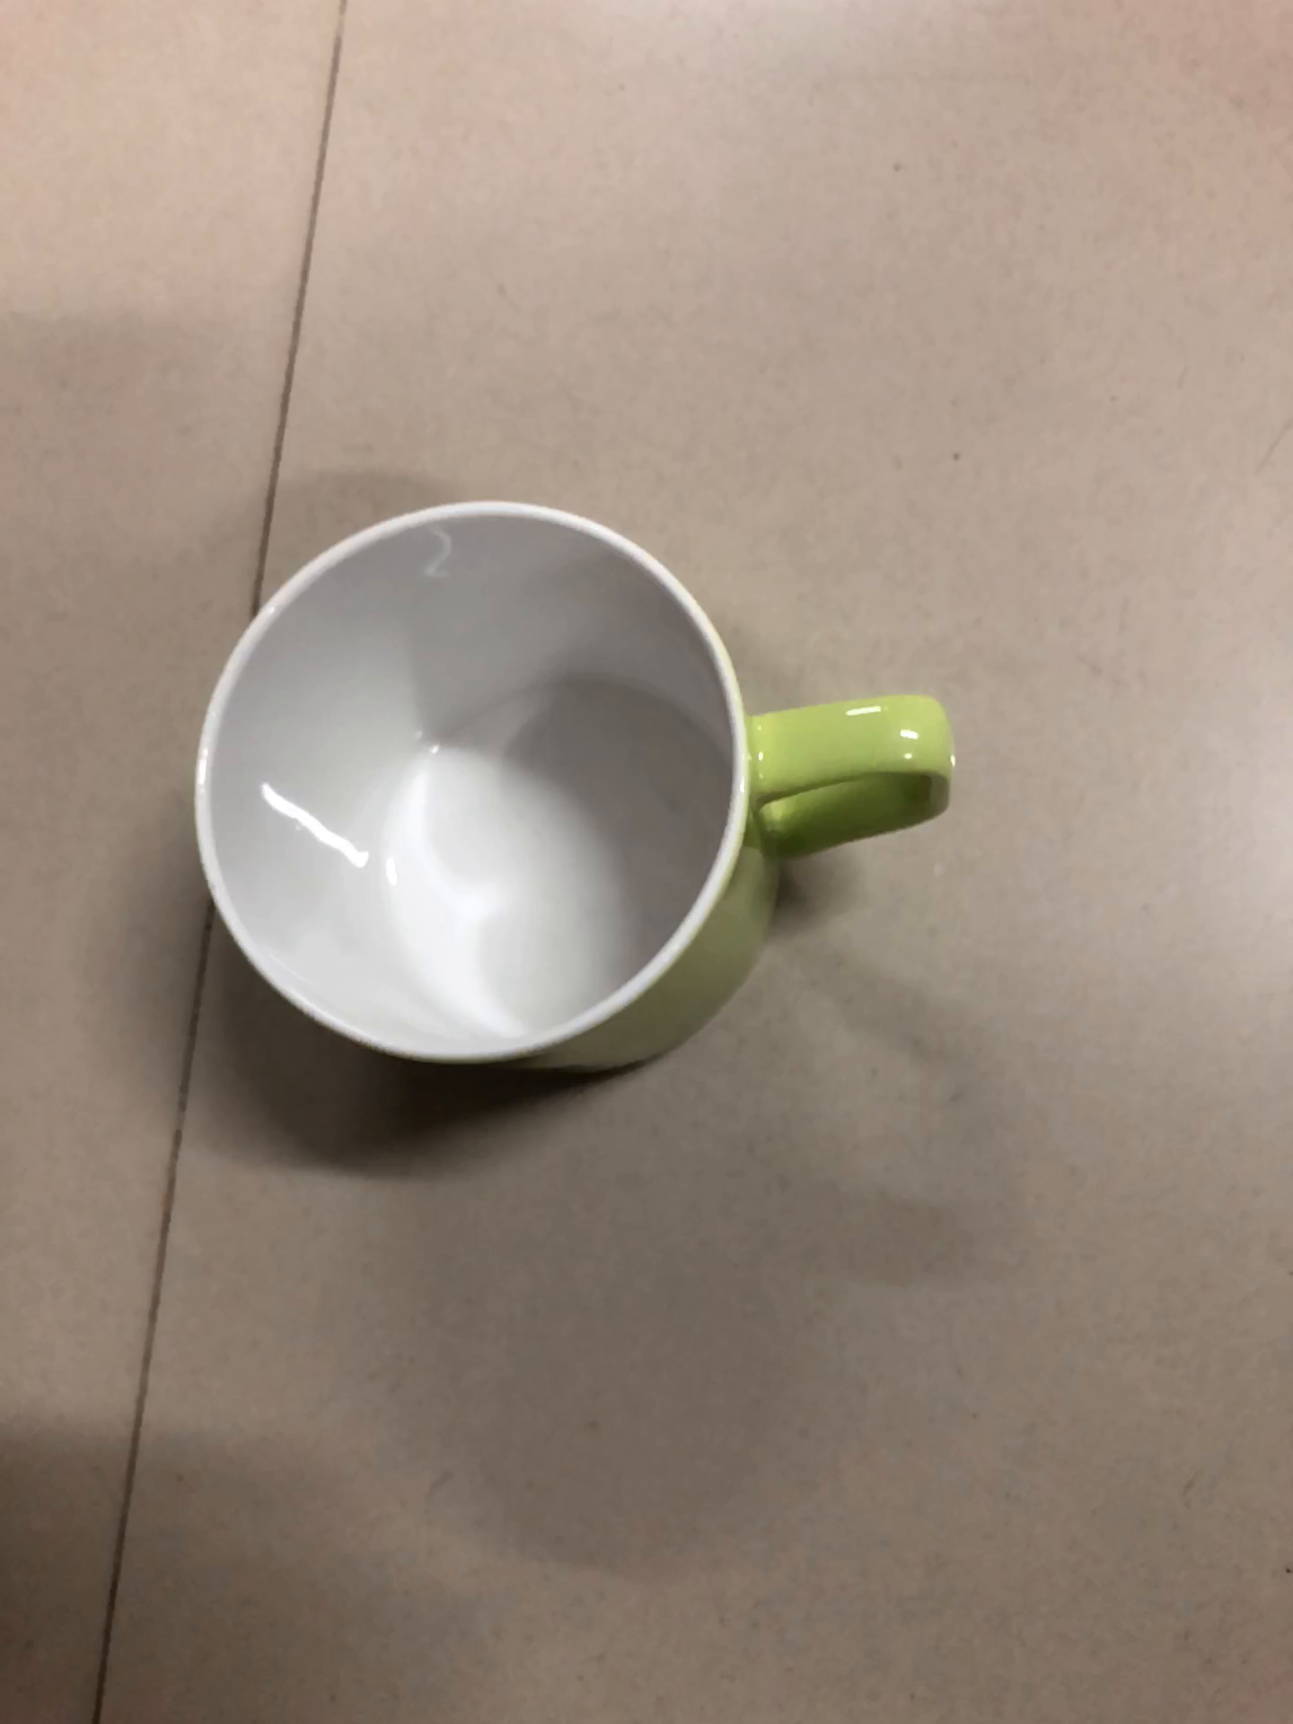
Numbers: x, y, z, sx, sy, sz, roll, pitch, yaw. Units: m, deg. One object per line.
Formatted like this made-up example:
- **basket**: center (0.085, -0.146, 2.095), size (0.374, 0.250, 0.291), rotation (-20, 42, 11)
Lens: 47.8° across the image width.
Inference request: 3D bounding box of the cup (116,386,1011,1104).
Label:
- **cup**: center (-0.007, -0.007, 0.207), size (0.100, 0.080, 0.070), rotation (-8, 78, 8)
